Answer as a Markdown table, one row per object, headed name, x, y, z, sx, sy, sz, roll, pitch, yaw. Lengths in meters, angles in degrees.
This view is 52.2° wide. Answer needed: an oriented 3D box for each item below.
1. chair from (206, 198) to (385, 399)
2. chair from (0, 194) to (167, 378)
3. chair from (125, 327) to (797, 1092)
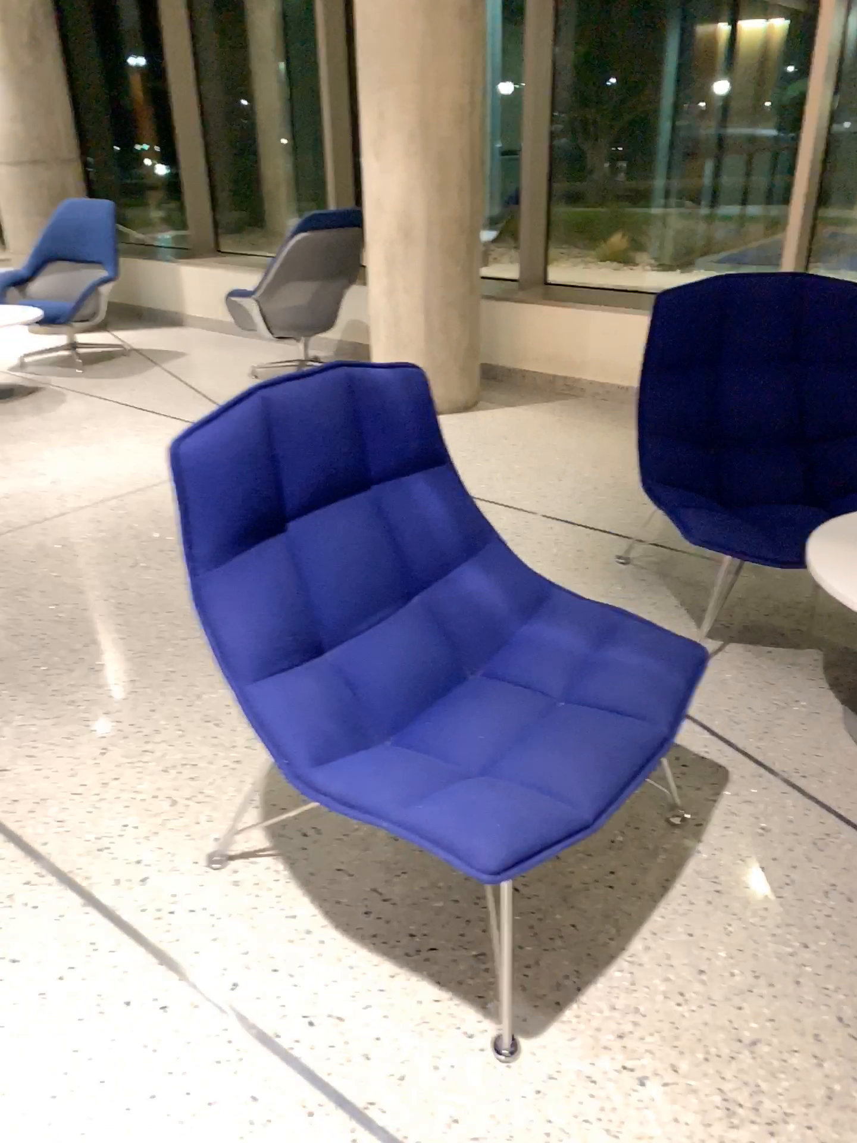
| name | x | y | z | sx | sy | sz | roll | pitch | yaw |
| --- | --- | --- | --- | --- | --- | --- | --- | --- | --- |
| chair | -0.765 | -1.629 | 5.136 | 0.642 | 0.962 | 0.773 | -24 | 36 | -39 |
| chair | -2.283 | -1.831 | 5.528 | 0.781 | 0.972 | 0.765 | 10 | 28 | 21 |
| chair | 0.088 | 0.129 | 1.641 | 0.782 | 0.933 | 0.812 | 18 | 32 | 34 |
